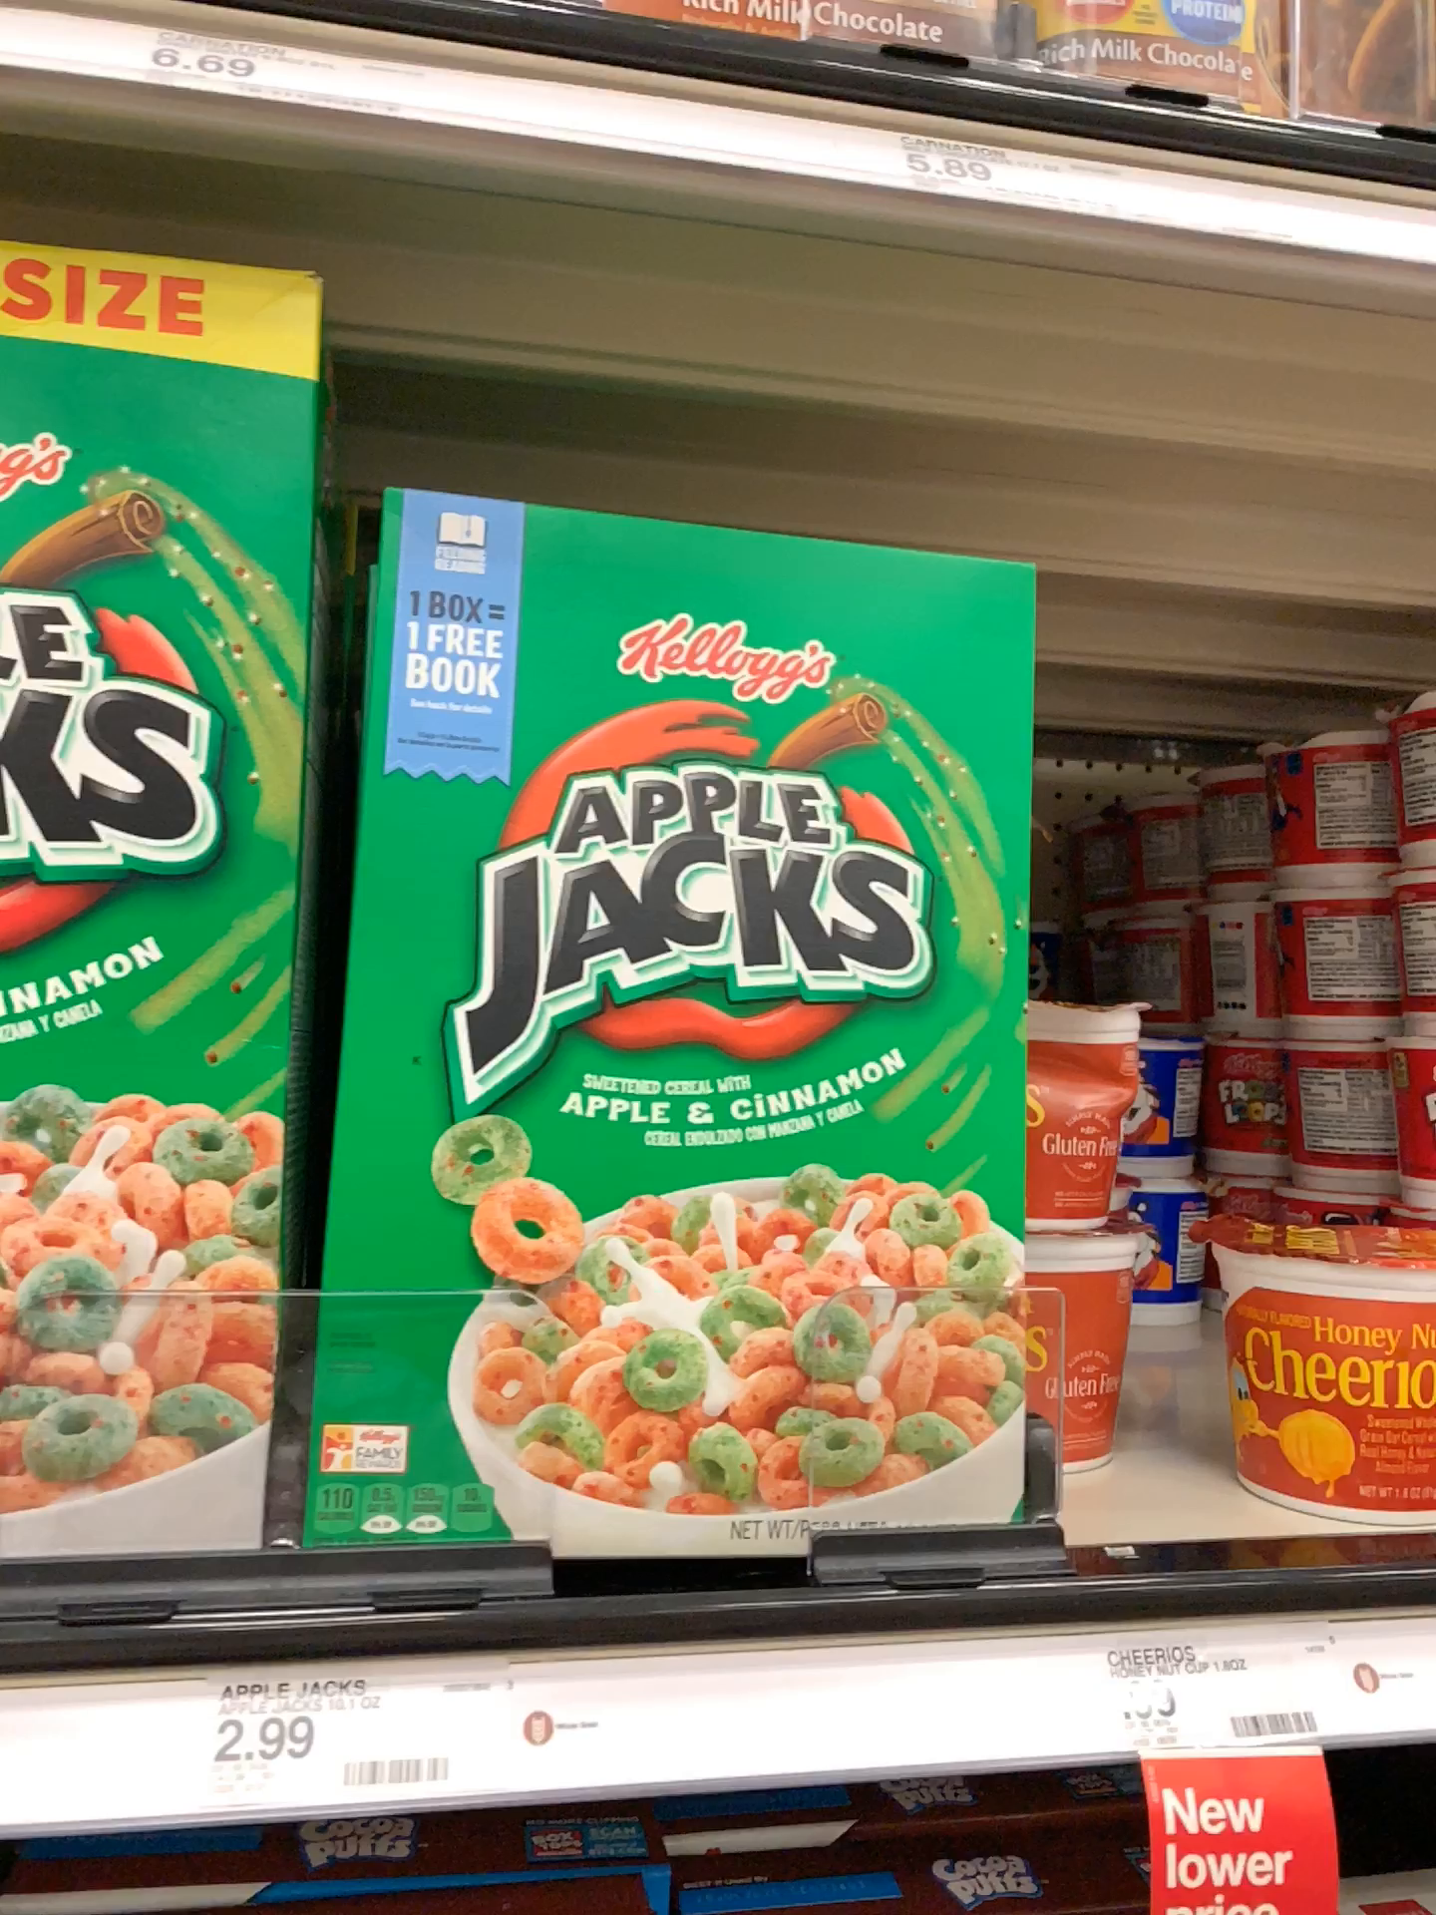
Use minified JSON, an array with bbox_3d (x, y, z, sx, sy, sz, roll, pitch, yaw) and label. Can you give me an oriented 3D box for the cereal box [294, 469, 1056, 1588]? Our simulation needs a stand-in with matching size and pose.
[{"bbox_3d":[-0.008,0.020,0.432,0.200,0.291,0.060,4,-9,-12],"label":"cereal box"}]
